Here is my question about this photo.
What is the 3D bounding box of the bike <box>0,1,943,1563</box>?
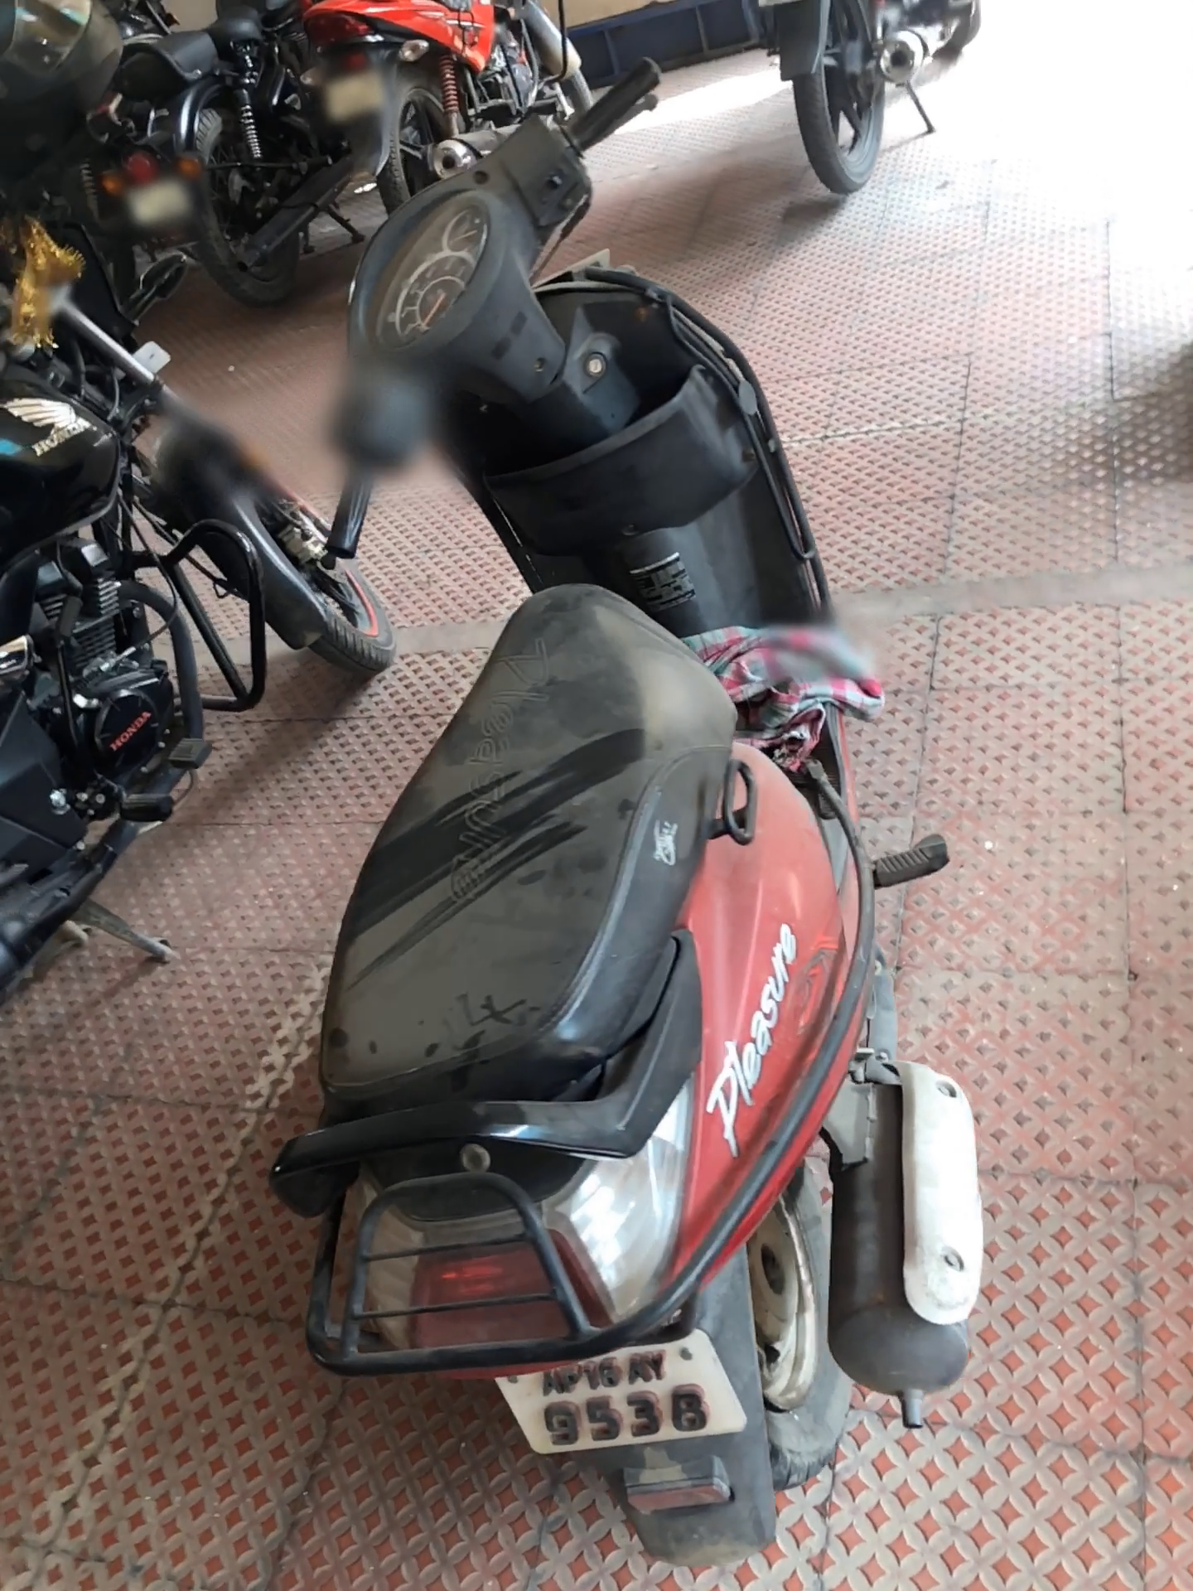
[{"bbox_3d":[-0.104,-0.154,1.600,0.600,1.030,1.658,-12,40,10],"label":"bike"}]
